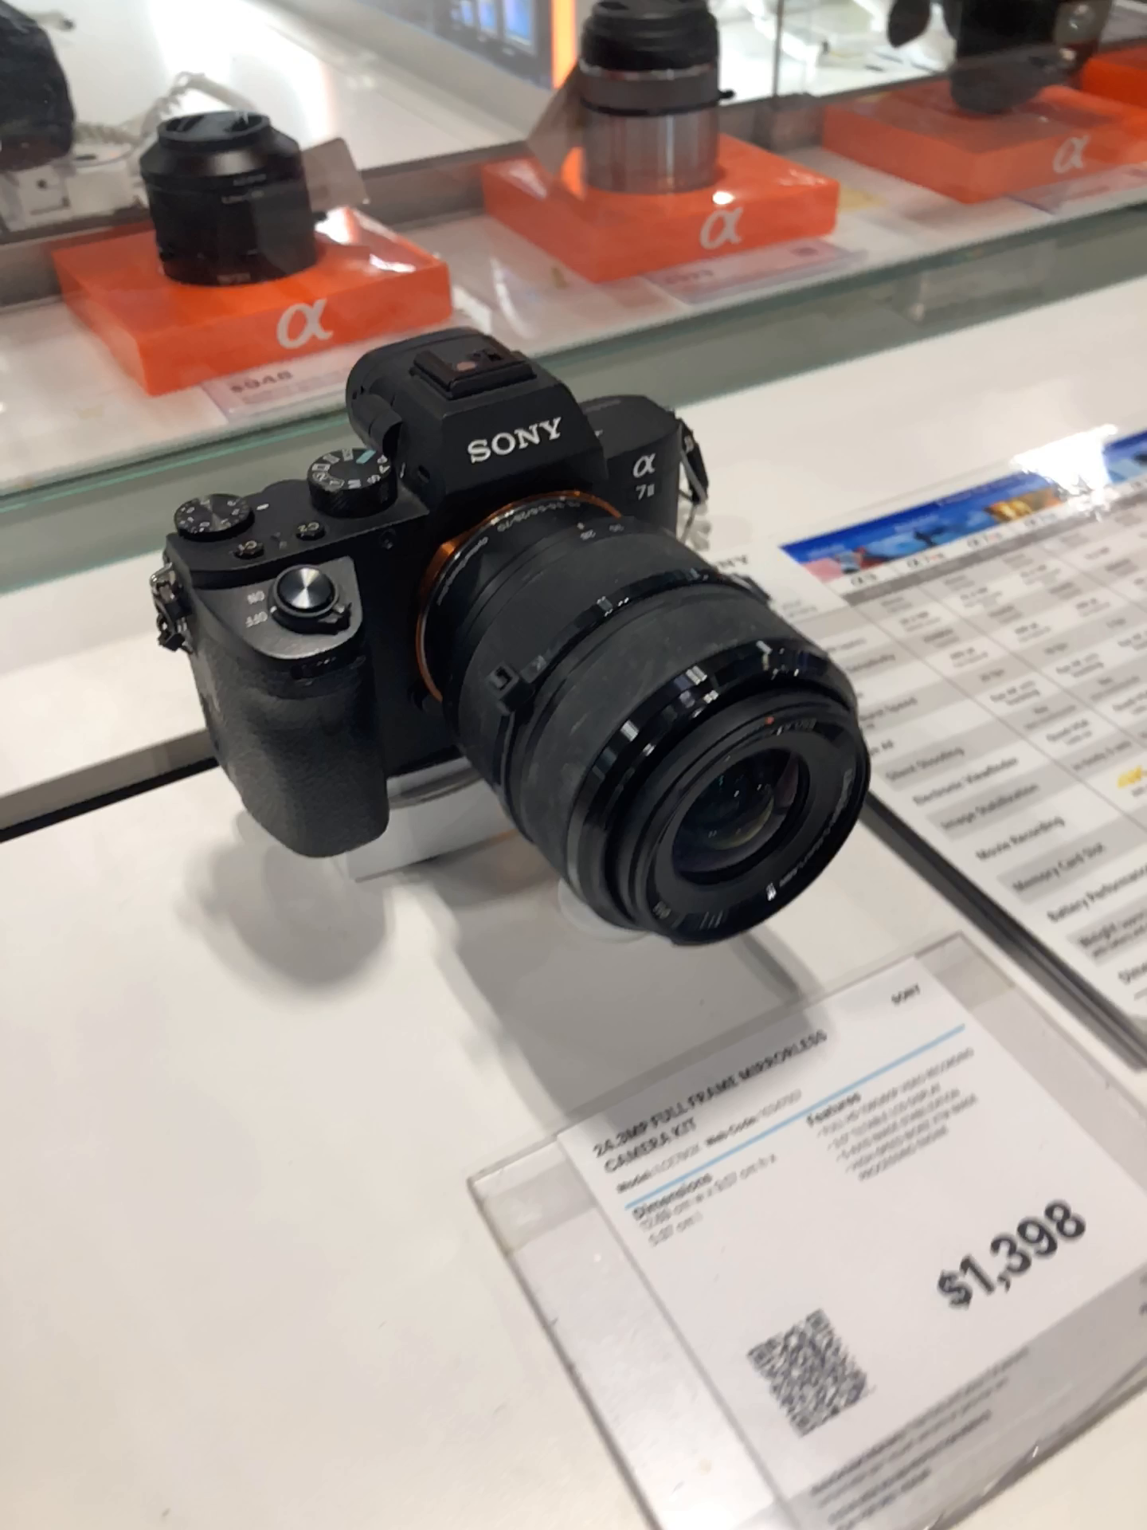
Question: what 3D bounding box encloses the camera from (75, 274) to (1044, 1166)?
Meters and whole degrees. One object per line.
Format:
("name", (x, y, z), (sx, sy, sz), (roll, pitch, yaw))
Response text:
("camera", (-0.009, -0.024, 0.271), (0.130, 0.089, 0.141), (-24, 46, -23))
